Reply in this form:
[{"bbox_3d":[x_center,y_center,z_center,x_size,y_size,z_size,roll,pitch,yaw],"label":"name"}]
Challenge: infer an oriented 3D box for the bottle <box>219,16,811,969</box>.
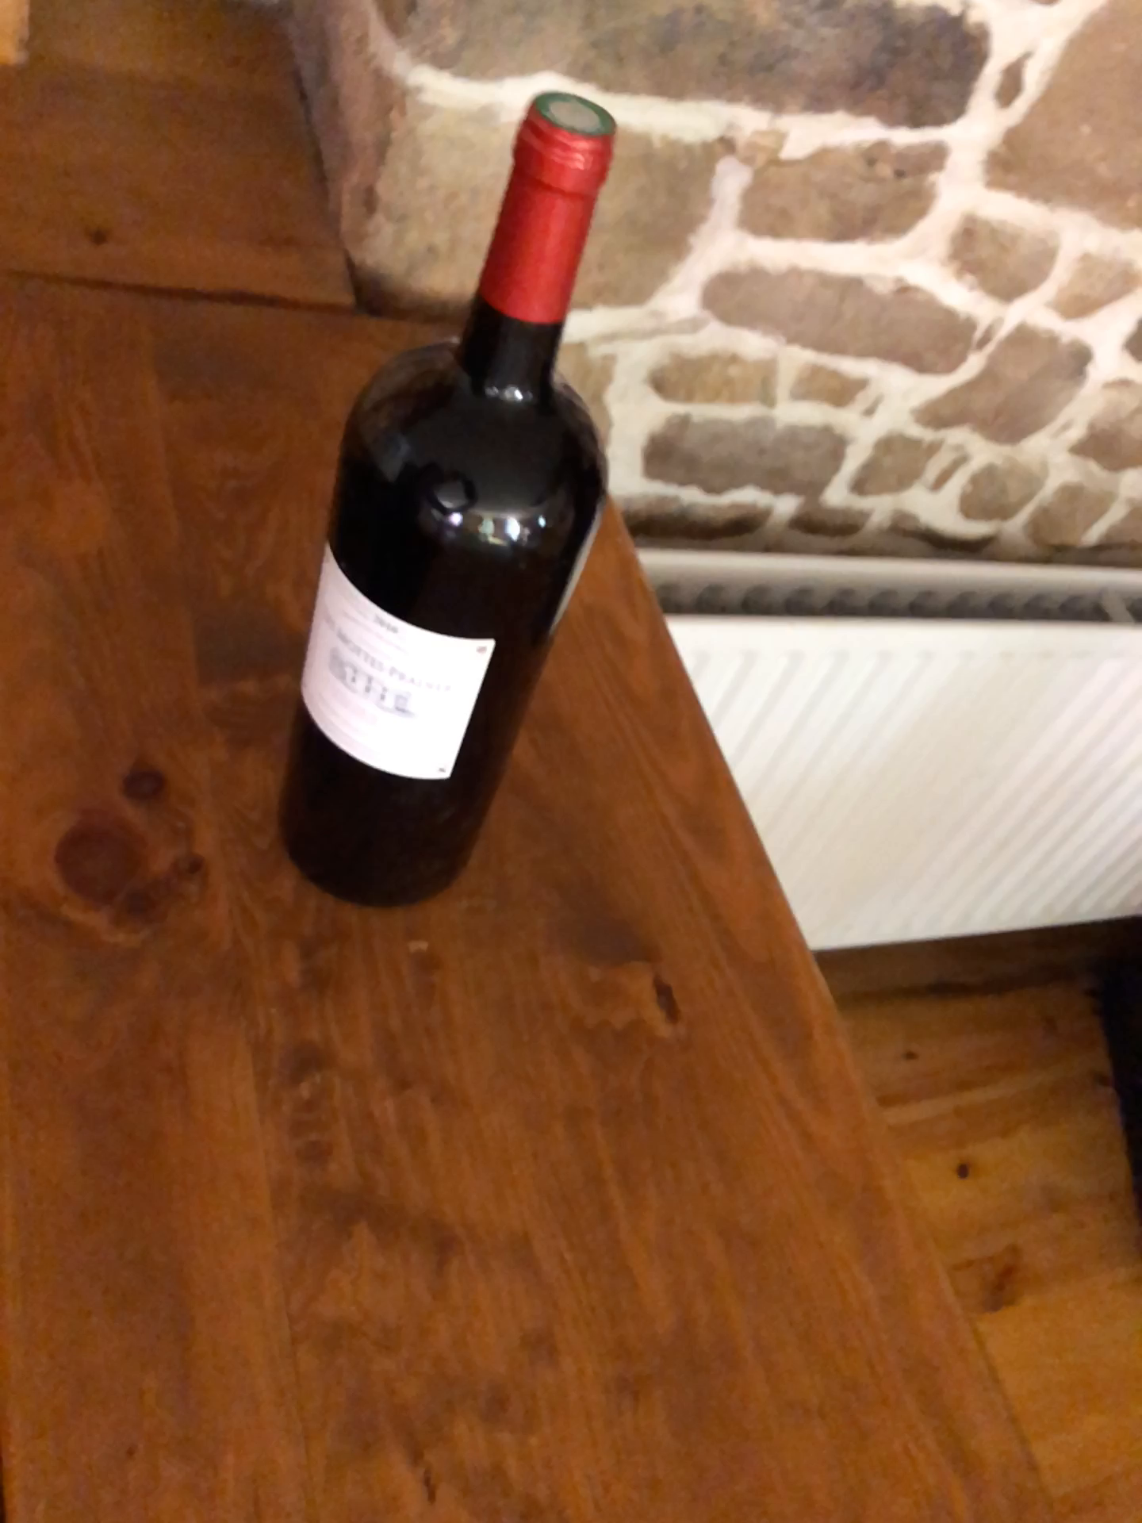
[{"bbox_3d":[-0.045,-0.070,0.481,0.100,0.347,0.101,11,48,-13],"label":"bottle"}]
